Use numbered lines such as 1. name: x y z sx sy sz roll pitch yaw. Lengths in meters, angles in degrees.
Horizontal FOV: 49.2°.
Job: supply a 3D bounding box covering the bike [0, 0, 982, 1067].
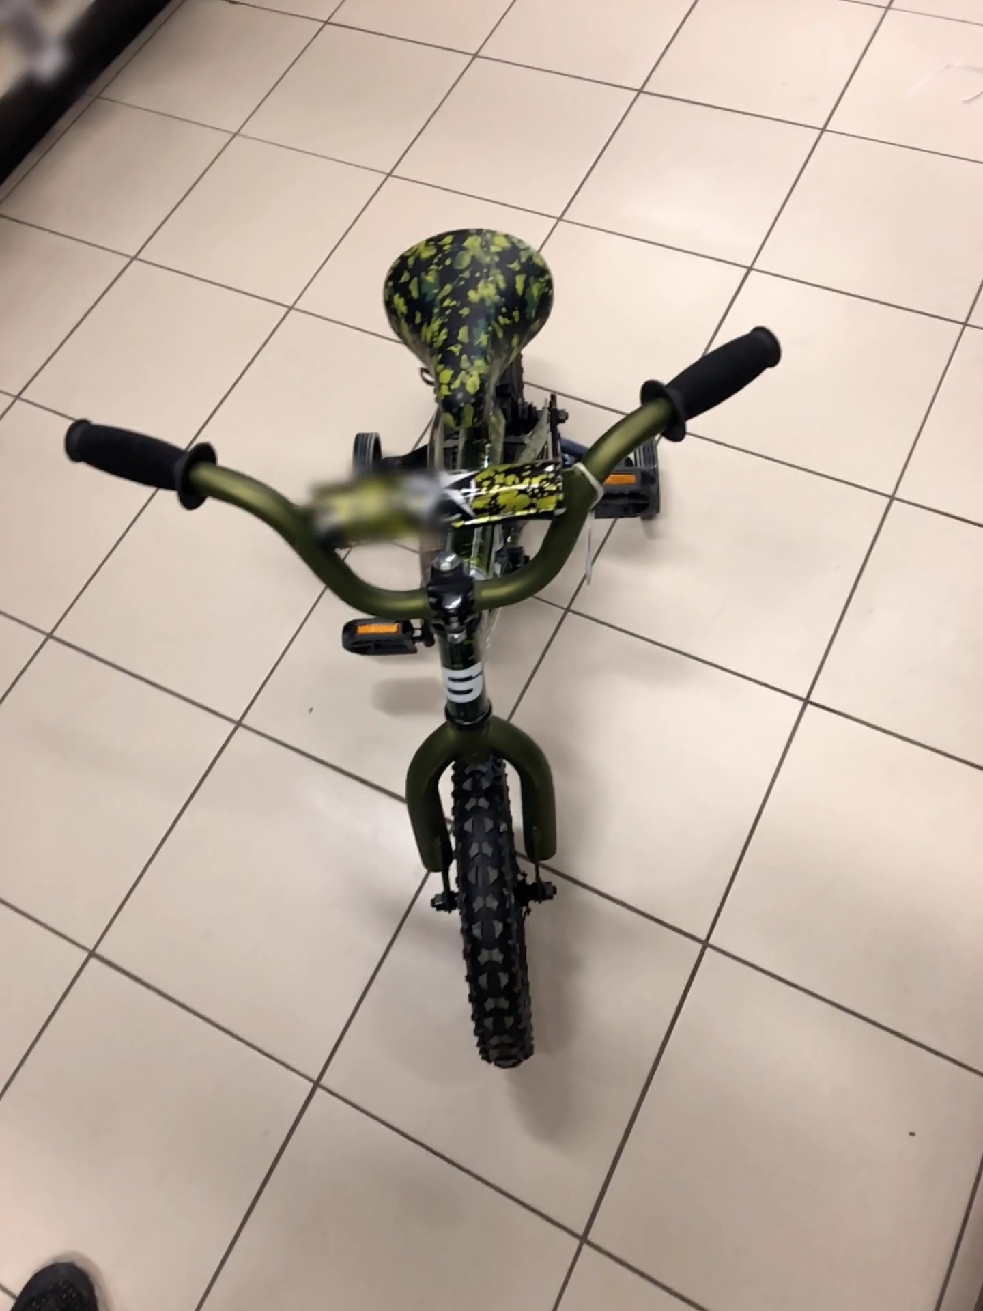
1. bike: 0.001 -0.097 0.955 0.532 0.557 0.818 -4 61 6
